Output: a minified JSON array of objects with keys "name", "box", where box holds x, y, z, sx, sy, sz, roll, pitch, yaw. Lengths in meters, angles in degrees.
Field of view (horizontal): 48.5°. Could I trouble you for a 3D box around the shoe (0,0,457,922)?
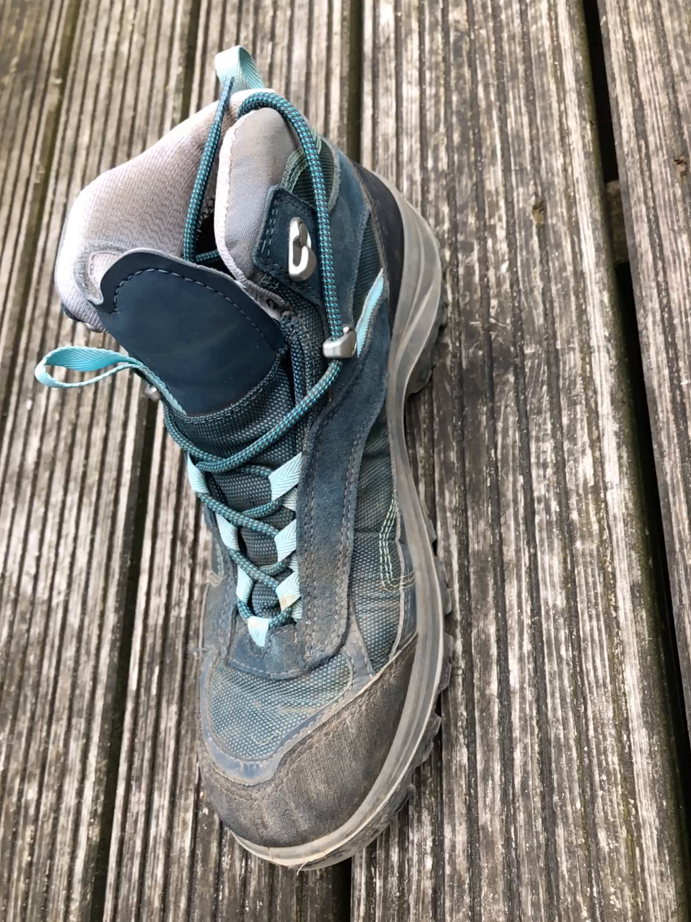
[{"name":"shoe","box":[-0.038,-0.001,0.283,0.120,0.120,0.280,-8,69,29]}]
